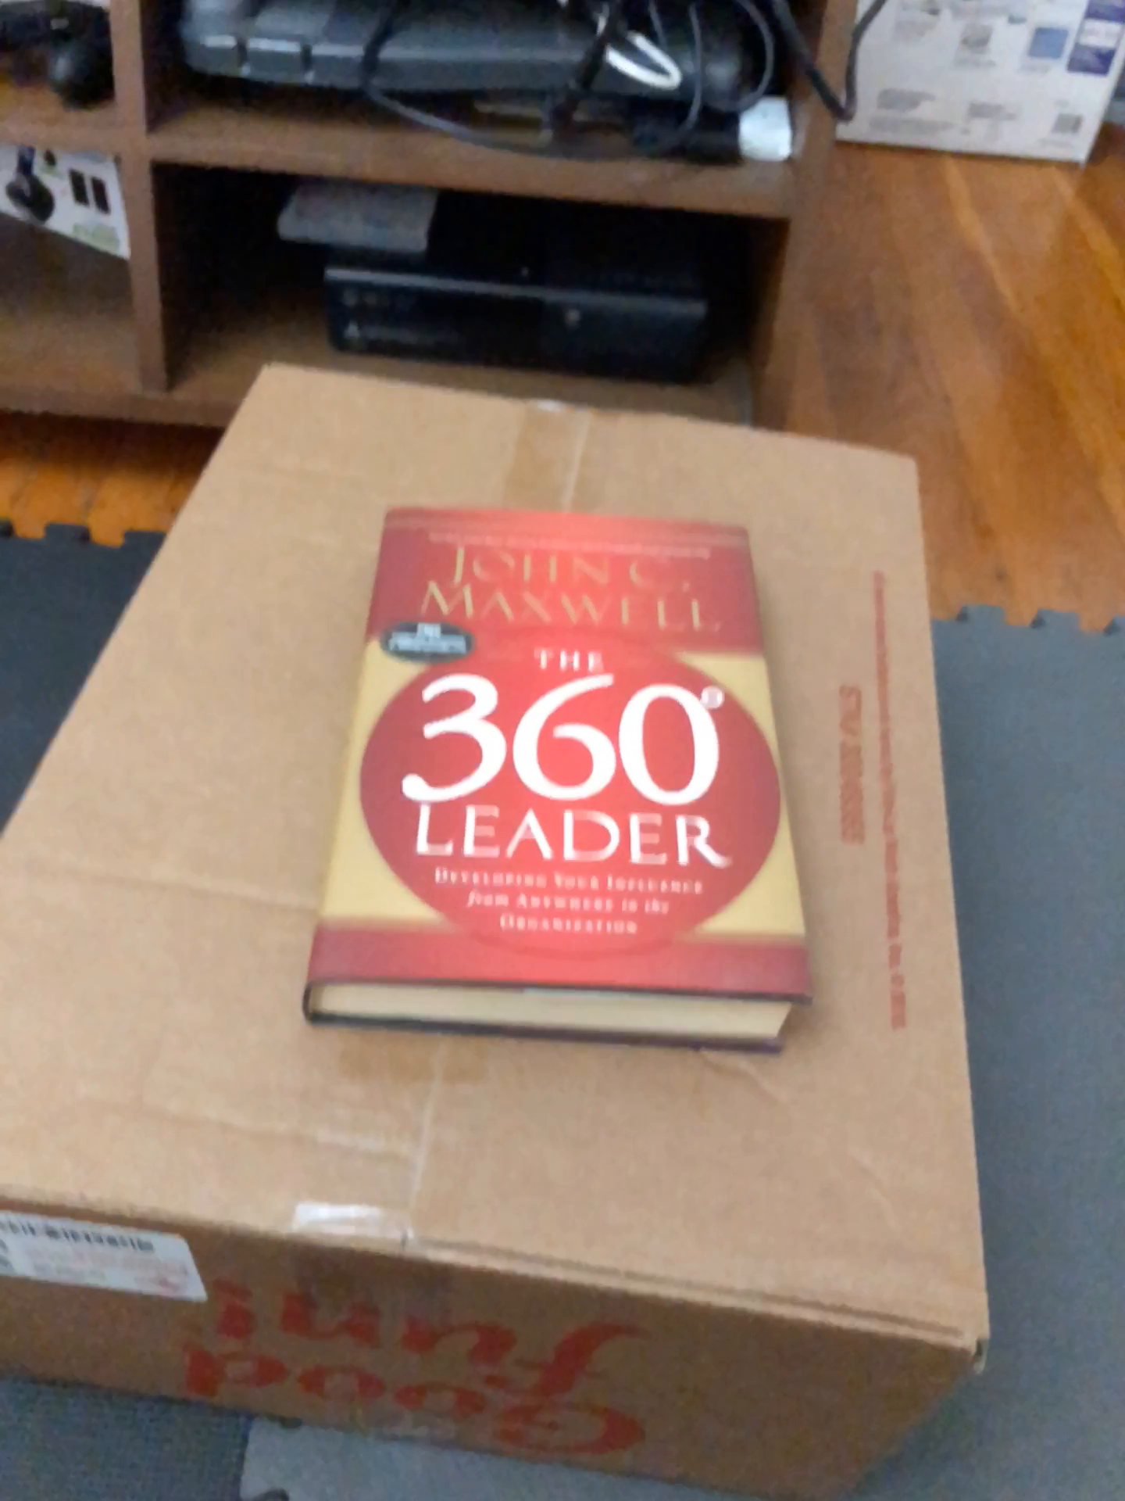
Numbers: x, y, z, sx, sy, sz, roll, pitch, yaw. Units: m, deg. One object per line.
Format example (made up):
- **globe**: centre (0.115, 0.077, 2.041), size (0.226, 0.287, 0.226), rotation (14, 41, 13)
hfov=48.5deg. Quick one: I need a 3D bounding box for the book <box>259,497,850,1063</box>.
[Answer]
- **book**: centre (0.001, -0.004, 0.472), size (0.180, 0.030, 0.241), rotation (4, 47, -2)
